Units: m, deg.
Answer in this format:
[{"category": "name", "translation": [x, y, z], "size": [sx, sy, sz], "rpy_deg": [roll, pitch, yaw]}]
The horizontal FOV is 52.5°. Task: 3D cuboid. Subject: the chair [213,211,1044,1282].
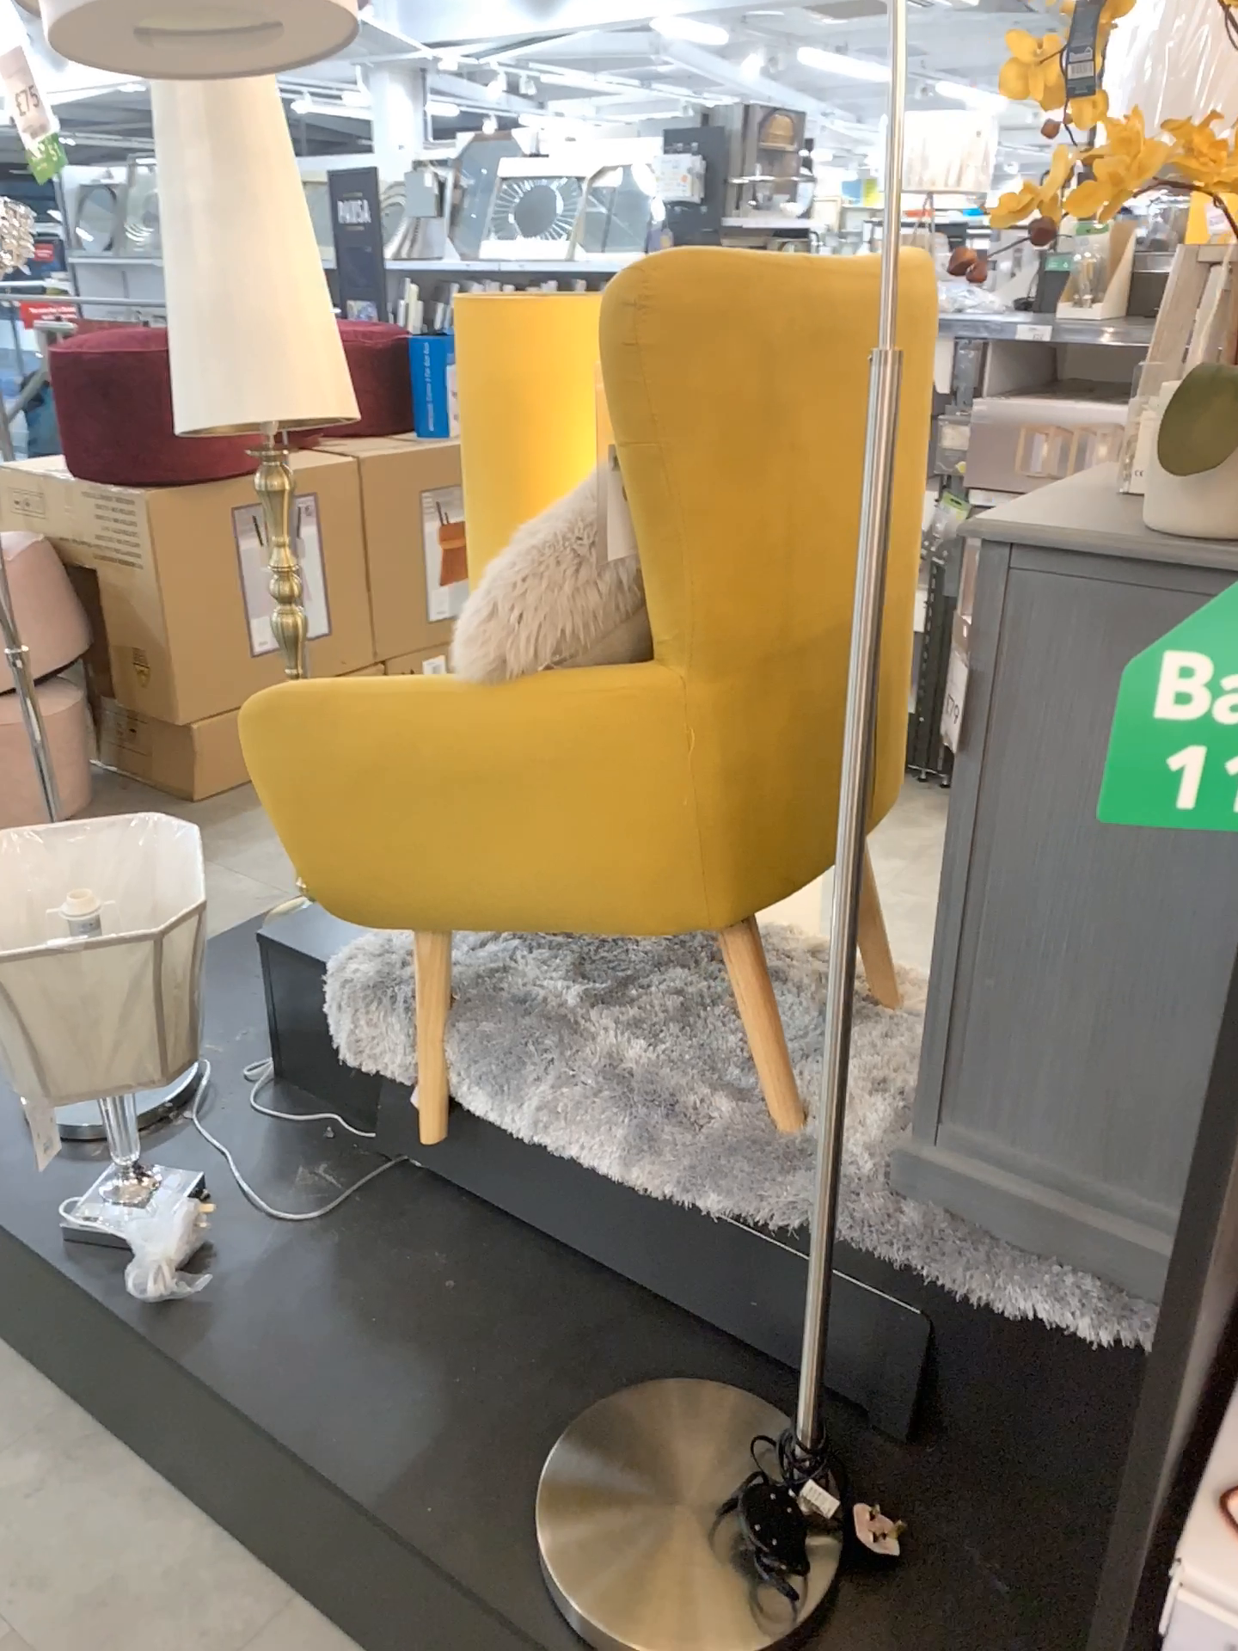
[{"category": "chair", "translation": [0.070, -0.137, 1.581], "size": [0.711, 1.023, 0.593], "rpy_deg": [5, 23, 35]}]
